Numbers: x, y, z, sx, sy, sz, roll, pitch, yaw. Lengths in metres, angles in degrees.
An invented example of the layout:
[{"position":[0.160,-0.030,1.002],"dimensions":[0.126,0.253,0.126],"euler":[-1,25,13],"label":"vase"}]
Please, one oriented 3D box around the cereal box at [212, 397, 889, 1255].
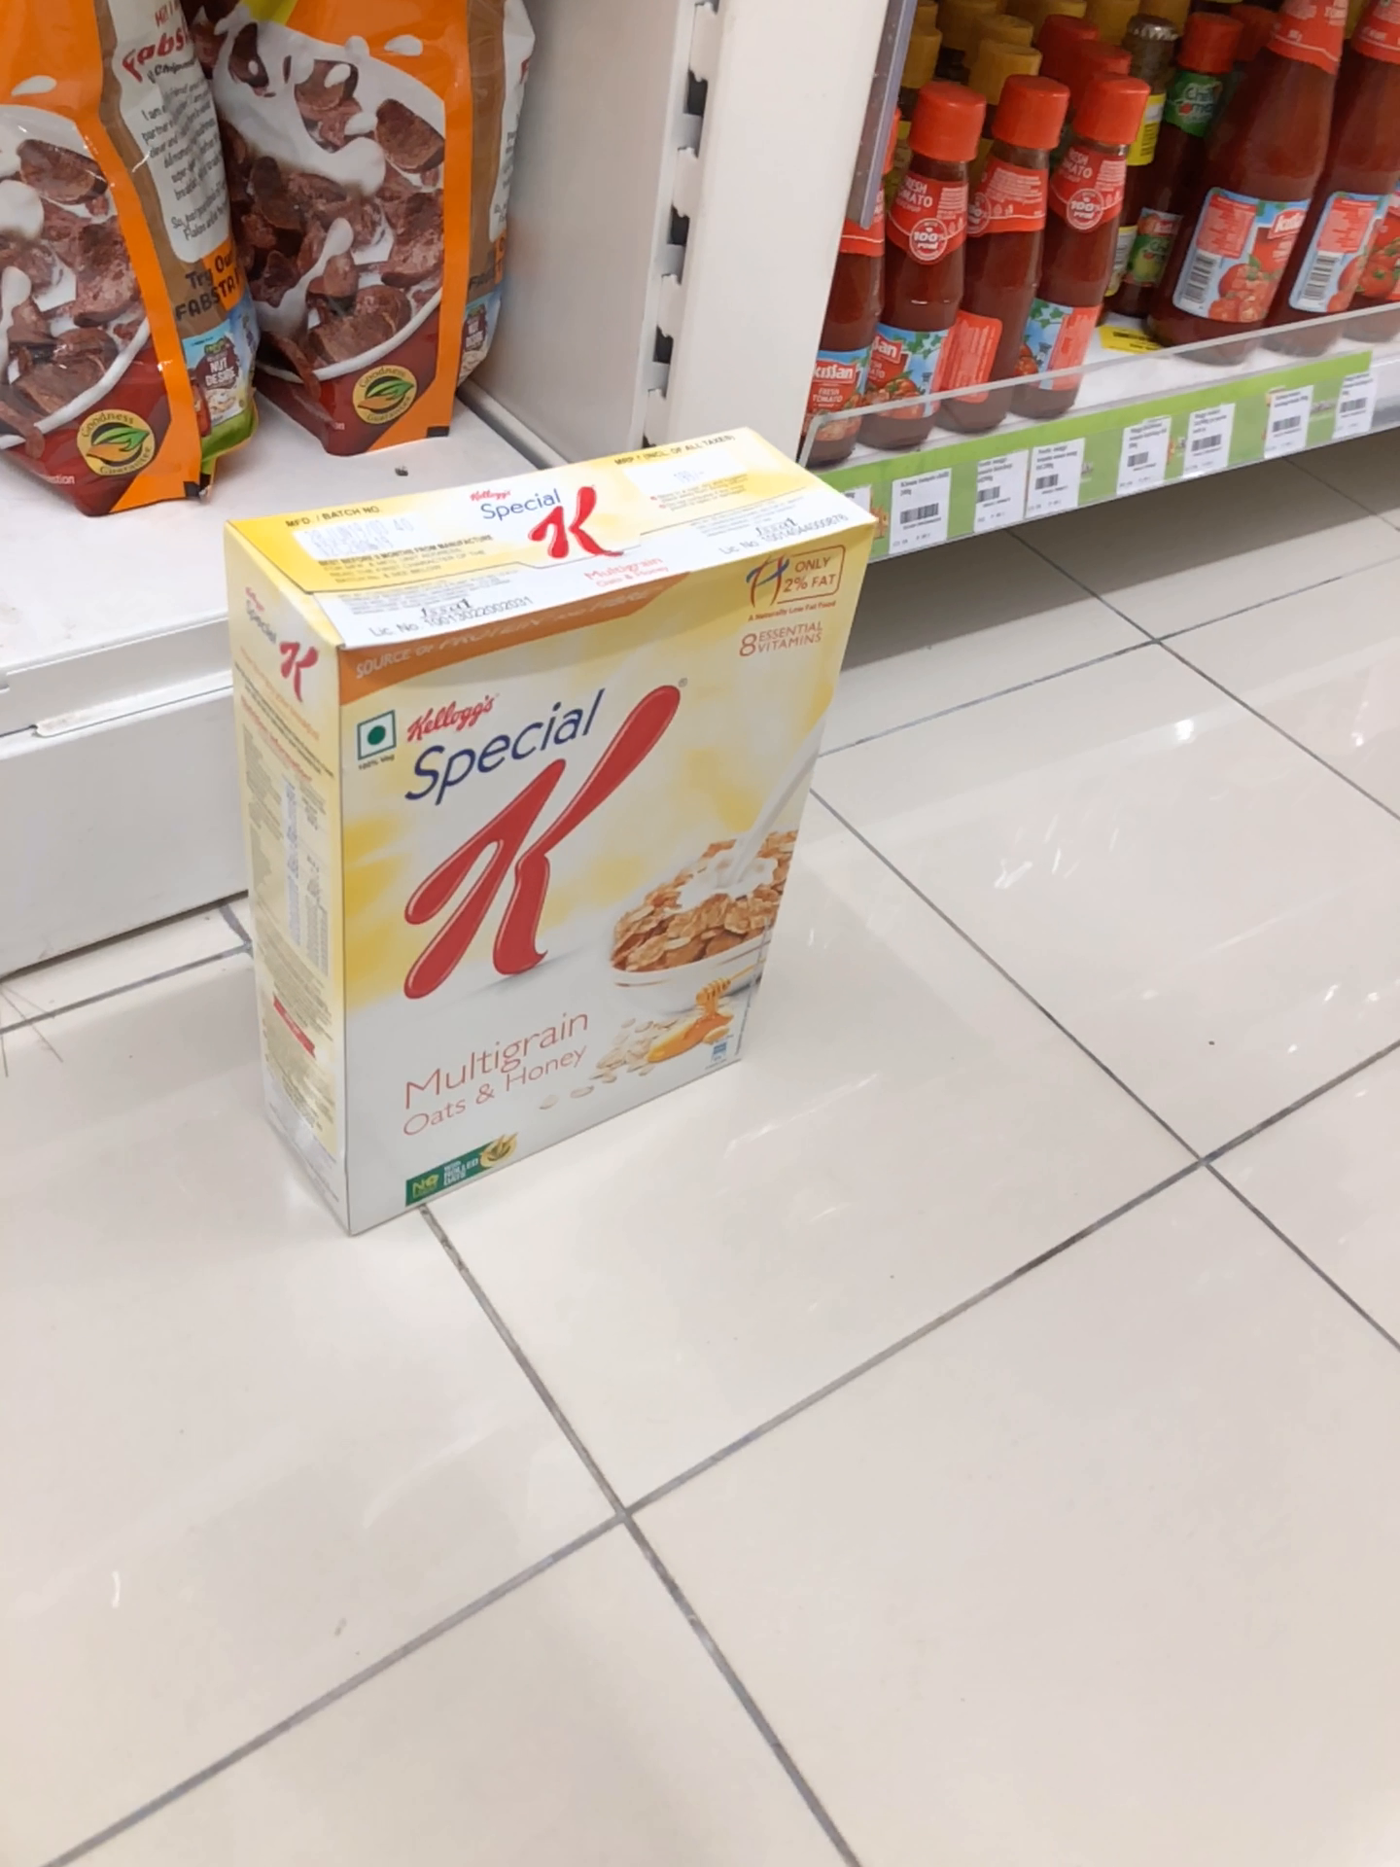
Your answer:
[{"position":[-0.058,-0.032,0.539],"dimensions":[0.191,0.268,0.070],"euler":[-22,52,-32],"label":"cereal box"}]
